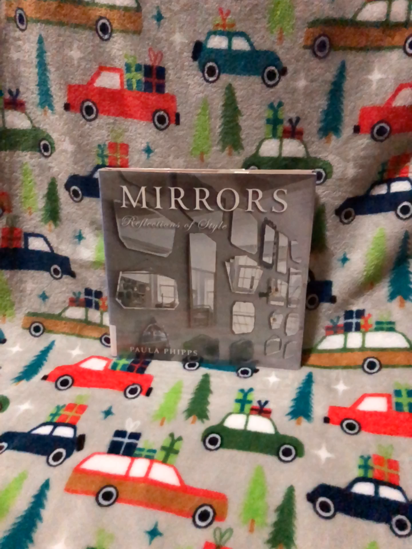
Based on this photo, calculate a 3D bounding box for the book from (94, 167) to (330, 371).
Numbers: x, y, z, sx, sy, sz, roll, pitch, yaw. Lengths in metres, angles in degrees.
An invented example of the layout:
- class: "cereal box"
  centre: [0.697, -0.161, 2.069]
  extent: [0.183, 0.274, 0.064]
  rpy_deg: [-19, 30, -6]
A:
- class: "book"
  centre: [0.005, -0.004, 0.478]
  extent: [0.222, 0.208, 0.030]
  rpy_deg: [2, 20, 6]
